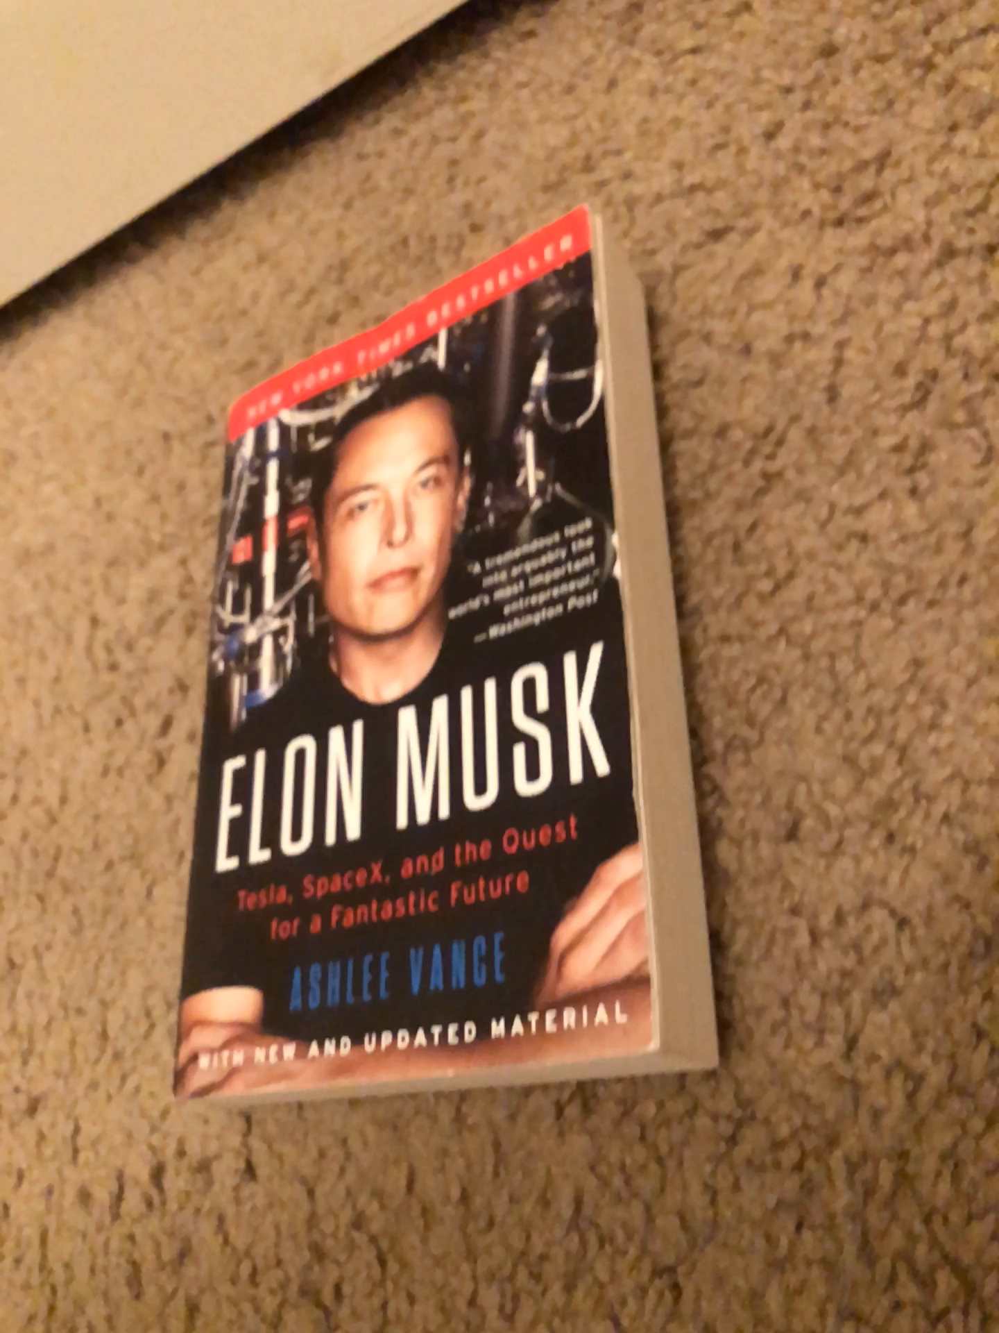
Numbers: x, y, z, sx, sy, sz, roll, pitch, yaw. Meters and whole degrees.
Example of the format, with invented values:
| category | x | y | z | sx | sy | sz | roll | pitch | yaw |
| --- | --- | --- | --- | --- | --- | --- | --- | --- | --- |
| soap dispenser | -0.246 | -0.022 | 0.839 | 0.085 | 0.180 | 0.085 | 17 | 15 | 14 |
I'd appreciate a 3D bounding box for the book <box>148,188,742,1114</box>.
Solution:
| category | x | y | z | sx | sy | sz | roll | pitch | yaw |
| --- | --- | --- | --- | --- | --- | --- | --- | --- | --- |
| book | -0.021 | -0.001 | 0.281 | 0.136 | 0.033 | 0.202 | -18 | 61 | 33 |
